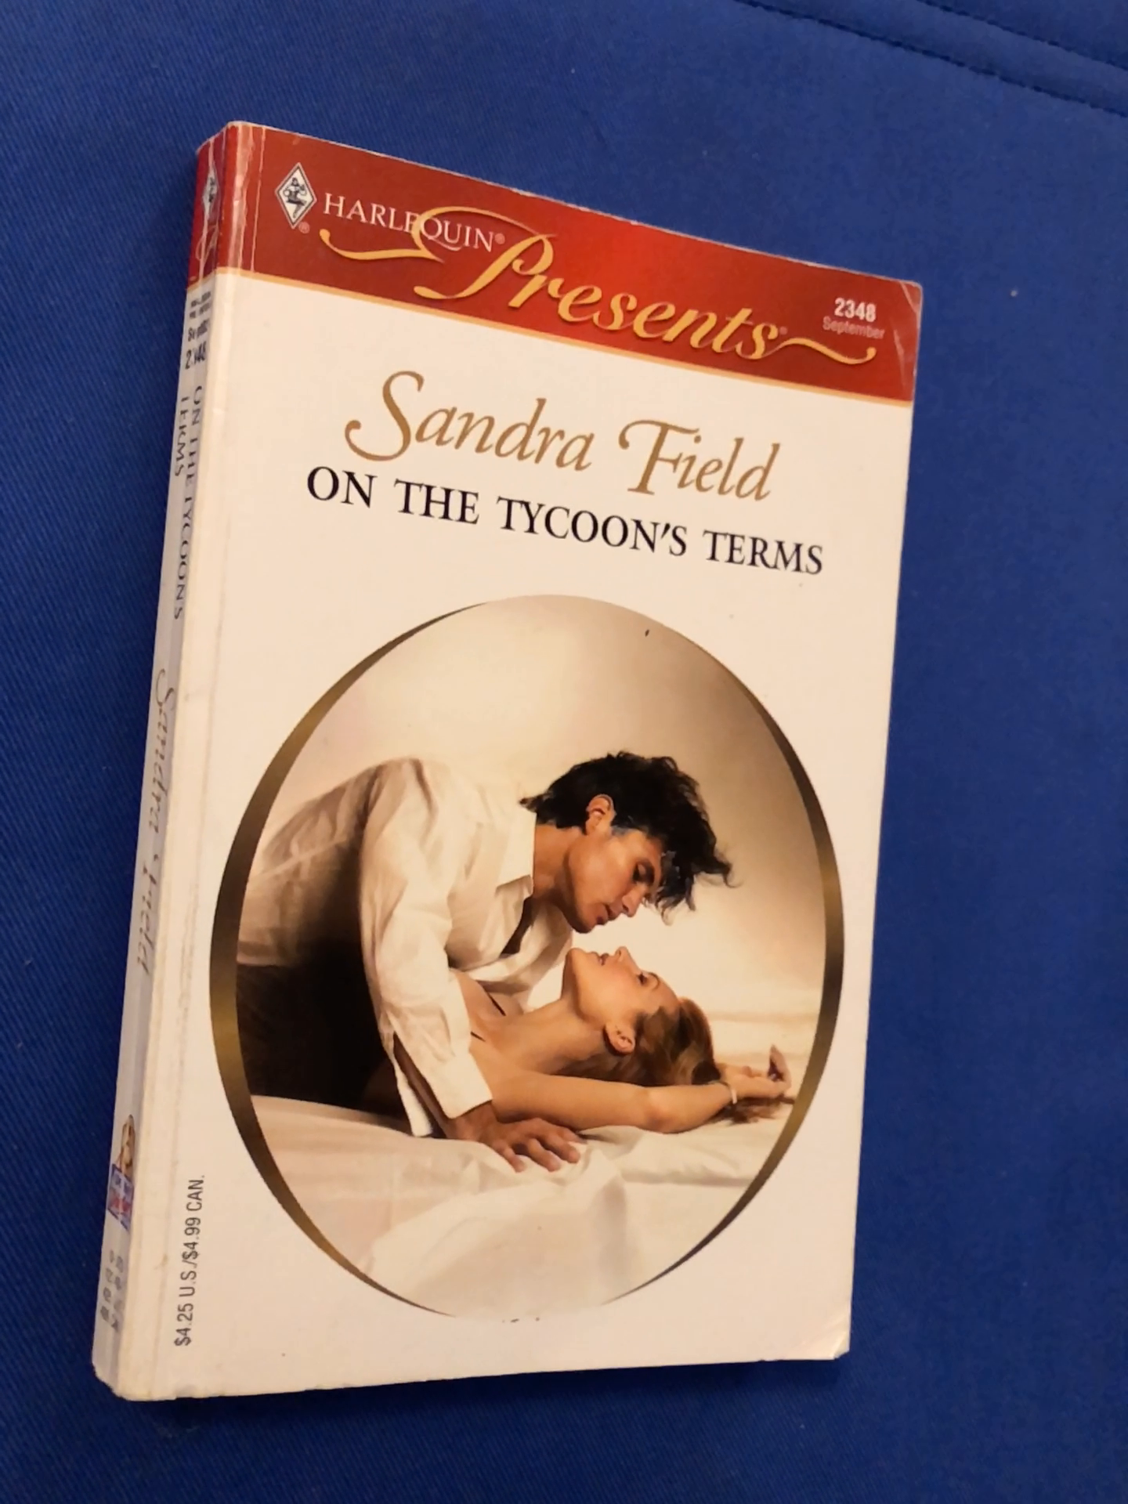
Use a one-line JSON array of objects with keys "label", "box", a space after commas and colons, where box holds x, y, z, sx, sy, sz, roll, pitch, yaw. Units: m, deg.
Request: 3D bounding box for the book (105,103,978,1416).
[{"label": "book", "box": [0.000, 0.005, 0.177, 0.107, 0.020, 0.157, 5, 88, -18]}]
